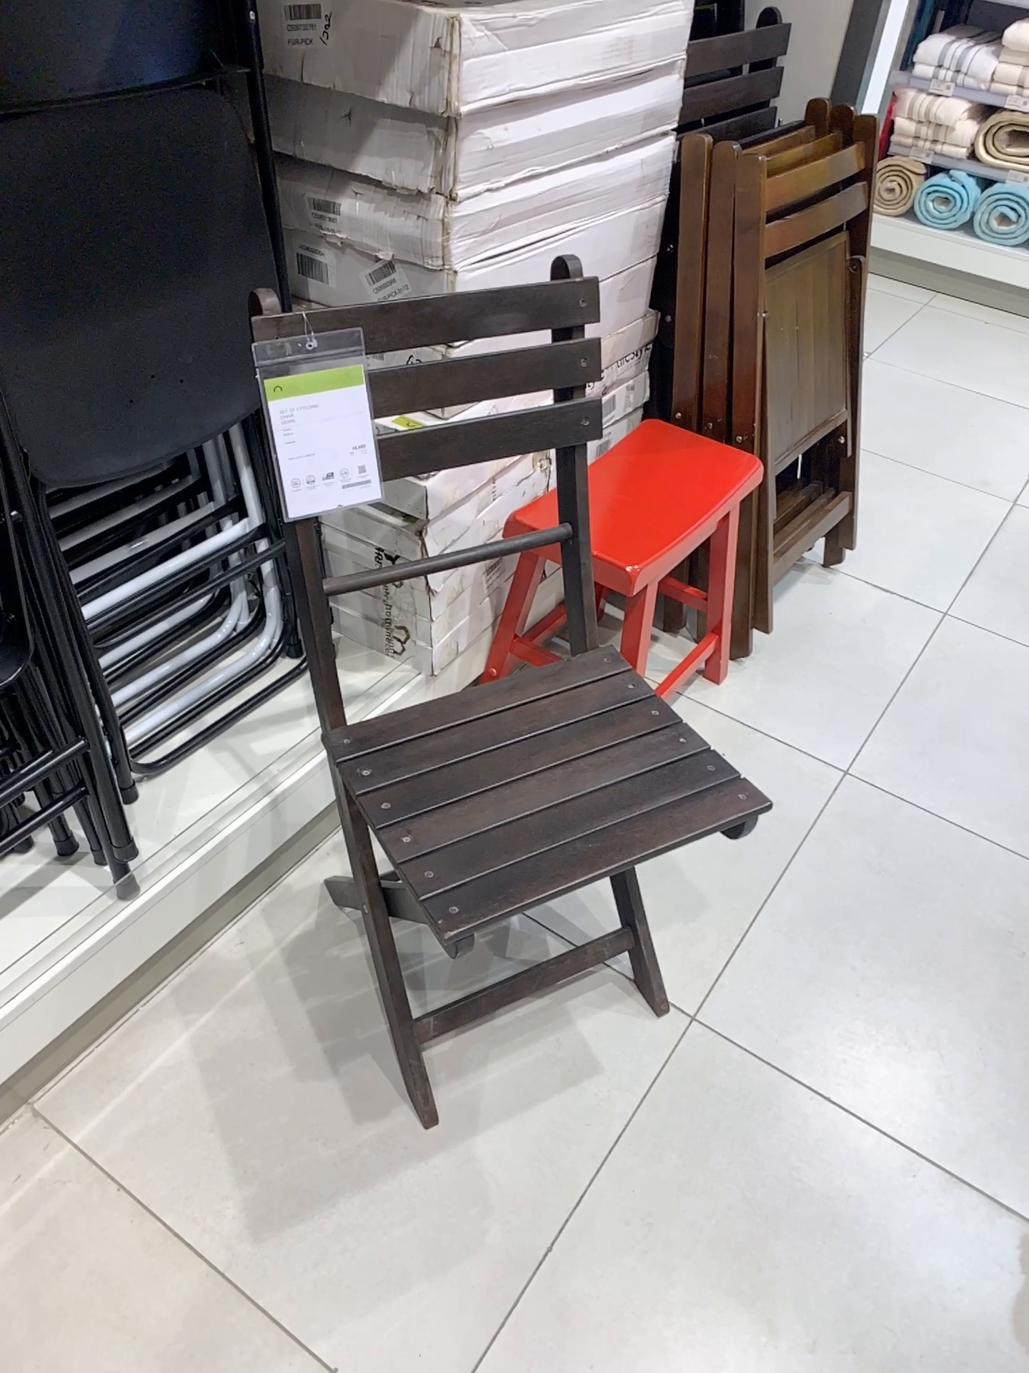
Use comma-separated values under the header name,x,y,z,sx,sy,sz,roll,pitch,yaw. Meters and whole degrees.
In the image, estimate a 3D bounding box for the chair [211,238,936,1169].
name,x,y,z,sx,sy,sz,roll,pitch,yaw
chair,-0.007,0.021,1.127,0.420,0.797,0.481,-16,44,-25
